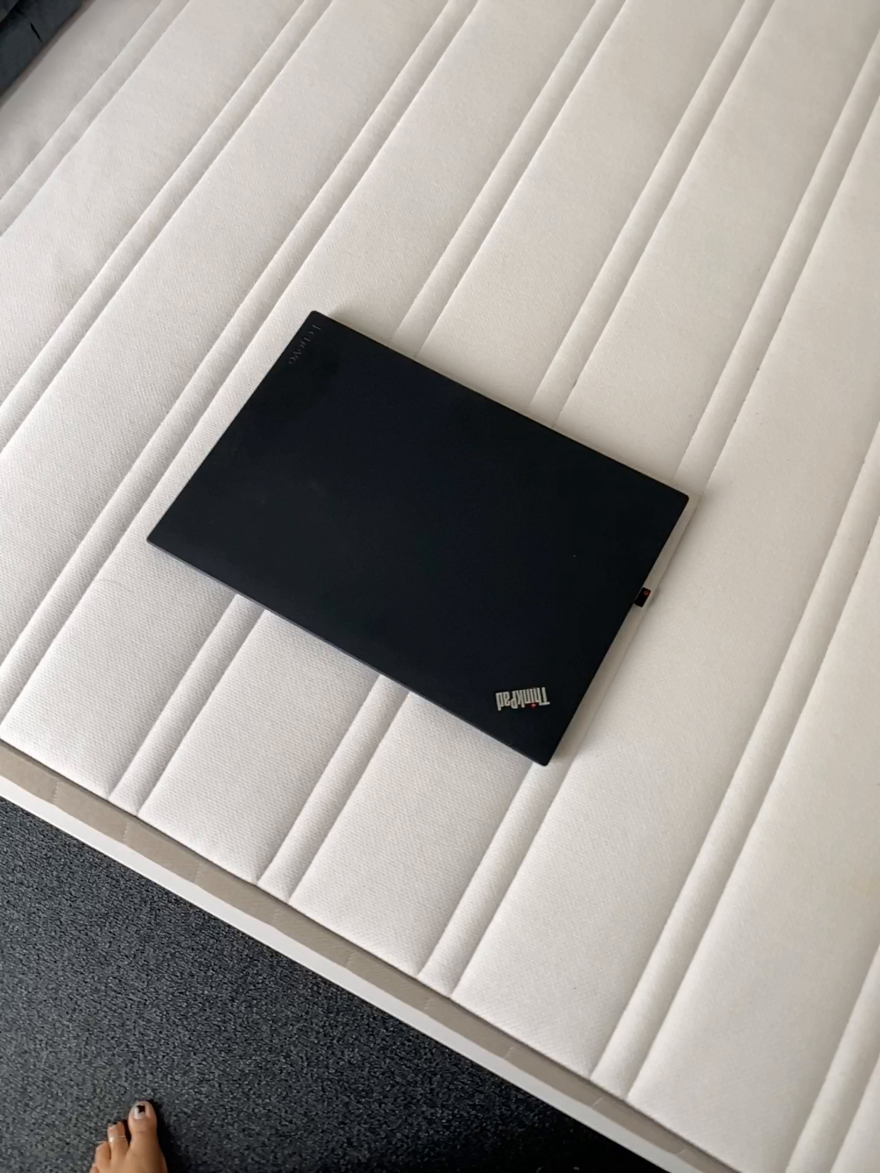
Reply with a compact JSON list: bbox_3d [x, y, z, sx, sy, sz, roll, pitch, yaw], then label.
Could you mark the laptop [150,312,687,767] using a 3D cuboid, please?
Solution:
[{"bbox_3d":[-0.014,-0.041,0.581,0.288,0.005,0.193,29,76,9],"label":"laptop"}]
